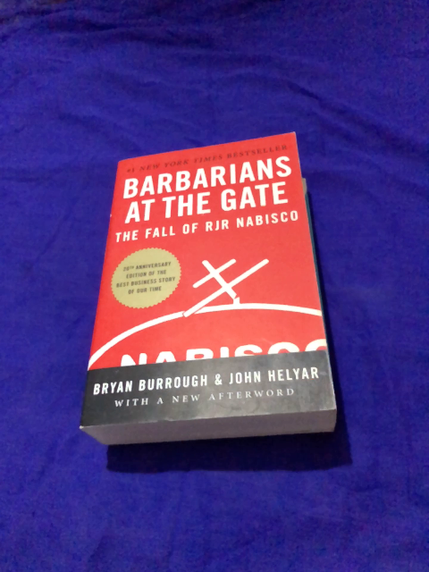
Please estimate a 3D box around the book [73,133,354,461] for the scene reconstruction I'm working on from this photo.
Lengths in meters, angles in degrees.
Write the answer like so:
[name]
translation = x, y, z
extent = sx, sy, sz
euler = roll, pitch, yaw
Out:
[book]
translation = 0.000, -0.003, 0.316
extent = 0.140, 0.050, 0.210
euler = -5, 56, 7
